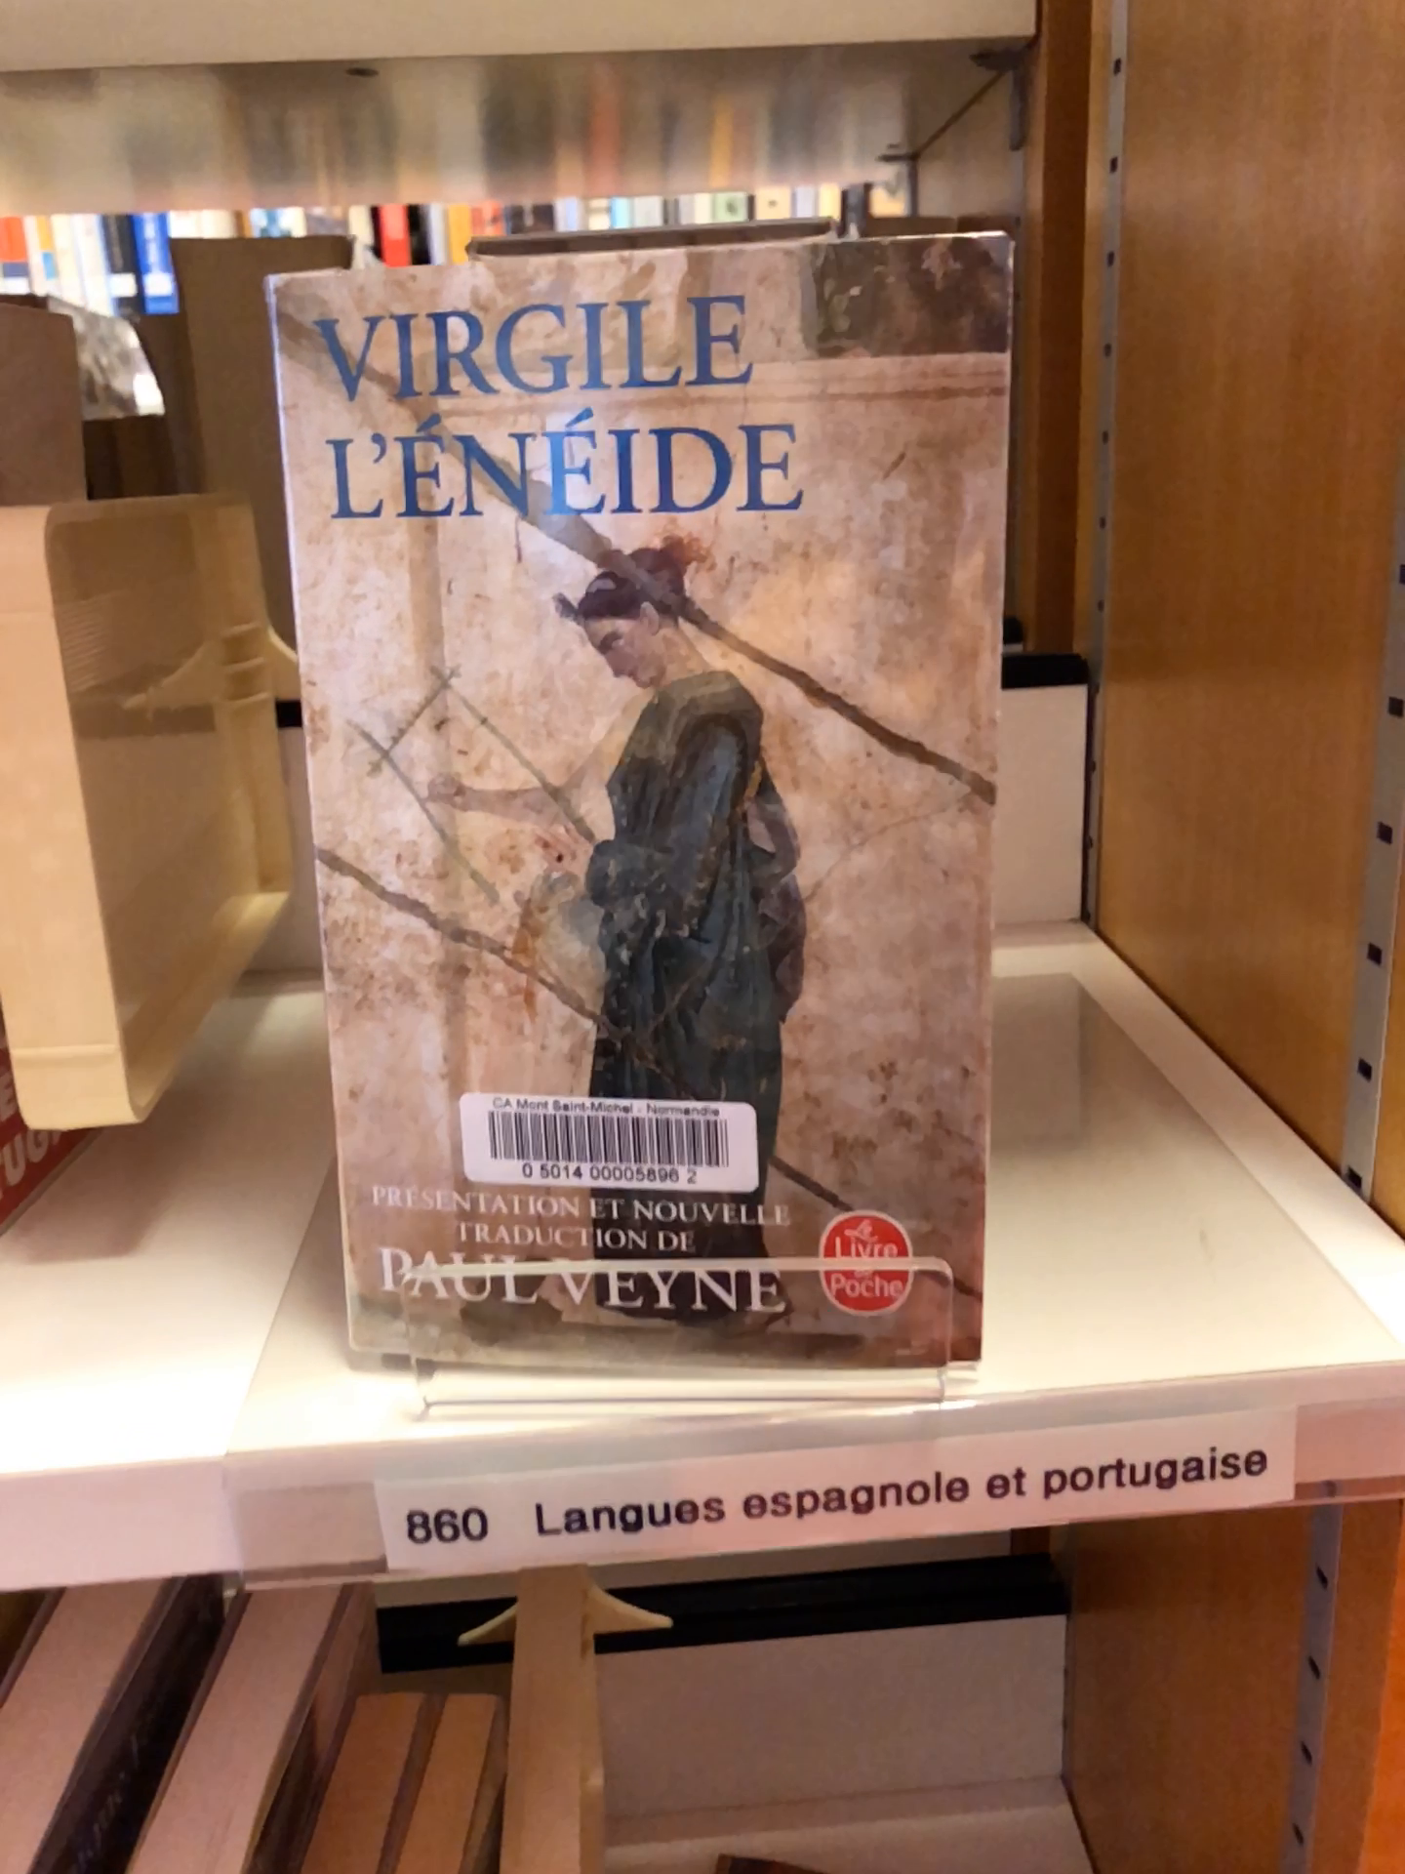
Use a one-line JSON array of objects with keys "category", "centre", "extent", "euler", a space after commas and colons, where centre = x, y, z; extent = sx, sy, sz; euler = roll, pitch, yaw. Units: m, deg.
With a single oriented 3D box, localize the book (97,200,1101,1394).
[{"category": "book", "centre": [-0.008, -0.021, 0.258], "extent": [0.131, 0.168, 0.074], "euler": [-1, 16, 6]}]
